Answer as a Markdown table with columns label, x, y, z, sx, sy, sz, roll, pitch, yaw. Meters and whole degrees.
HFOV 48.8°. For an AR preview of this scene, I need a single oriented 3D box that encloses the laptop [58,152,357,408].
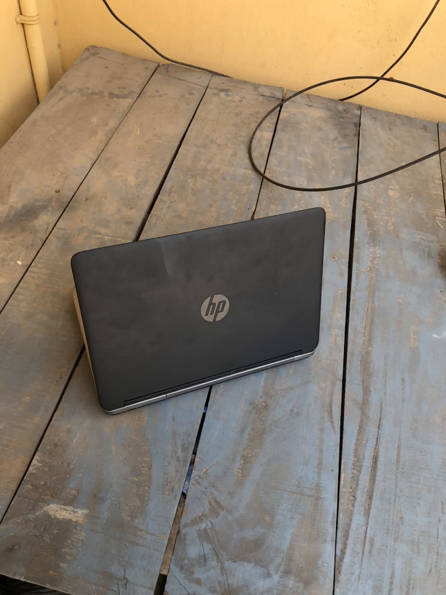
| label | x | y | z | sx | sy | sz | roll | pitch | yaw |
| --- | --- | --- | --- | --- | --- | --- | --- | --- | --- |
| laptop | -0.031 | -0.033 | 0.676 | 0.316 | 0.196 | 0.211 | -14 | 54 | -18 |
